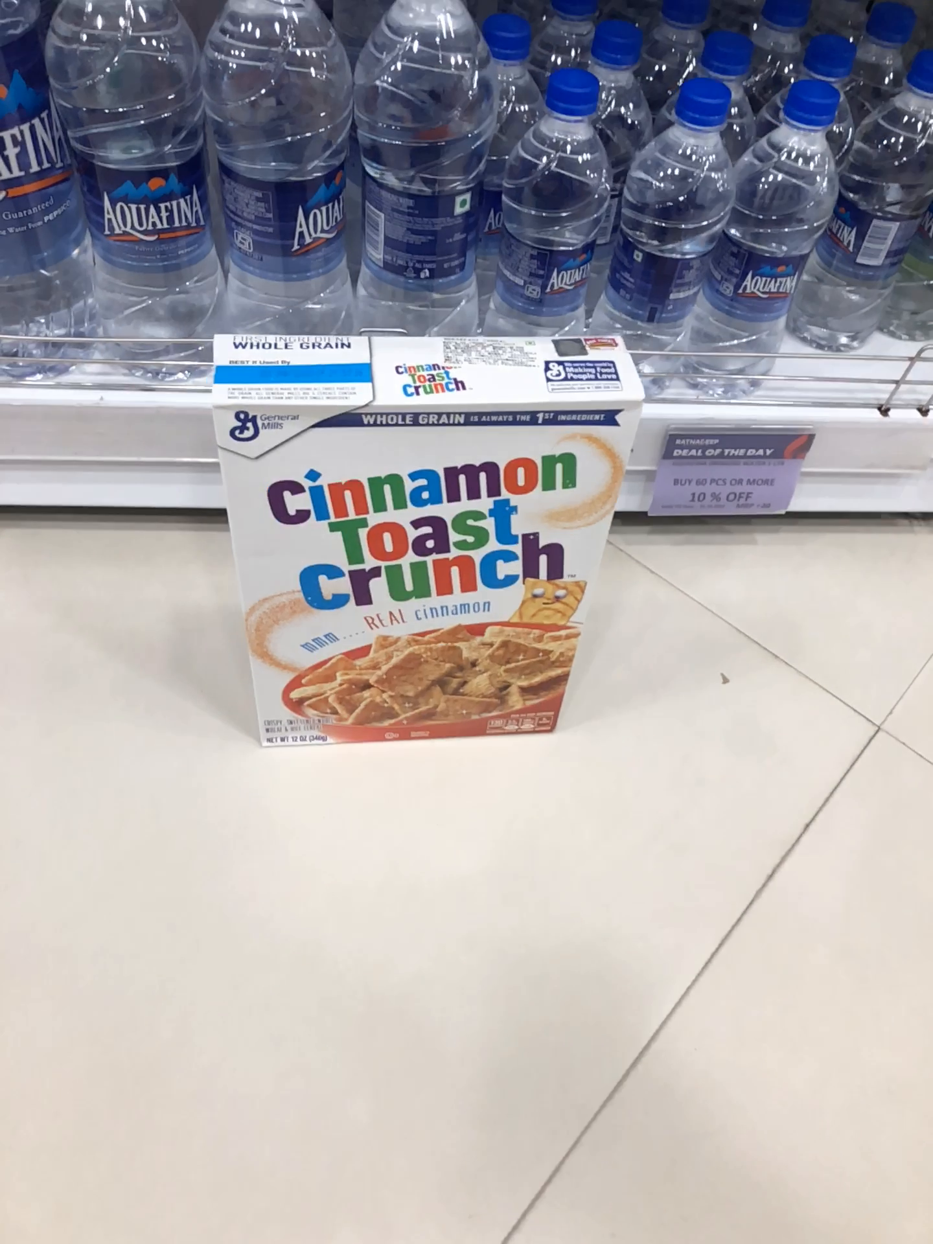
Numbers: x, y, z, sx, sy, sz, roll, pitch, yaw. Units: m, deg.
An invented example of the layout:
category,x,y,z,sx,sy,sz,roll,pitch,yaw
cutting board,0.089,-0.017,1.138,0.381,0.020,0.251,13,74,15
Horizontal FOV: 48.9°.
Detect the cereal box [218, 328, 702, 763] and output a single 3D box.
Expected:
category,x,y,z,sx,sy,sz,roll,pitch,yaw
cereal box,-0.015,-0.024,0.549,0.200,0.279,0.060,-2,54,-8
